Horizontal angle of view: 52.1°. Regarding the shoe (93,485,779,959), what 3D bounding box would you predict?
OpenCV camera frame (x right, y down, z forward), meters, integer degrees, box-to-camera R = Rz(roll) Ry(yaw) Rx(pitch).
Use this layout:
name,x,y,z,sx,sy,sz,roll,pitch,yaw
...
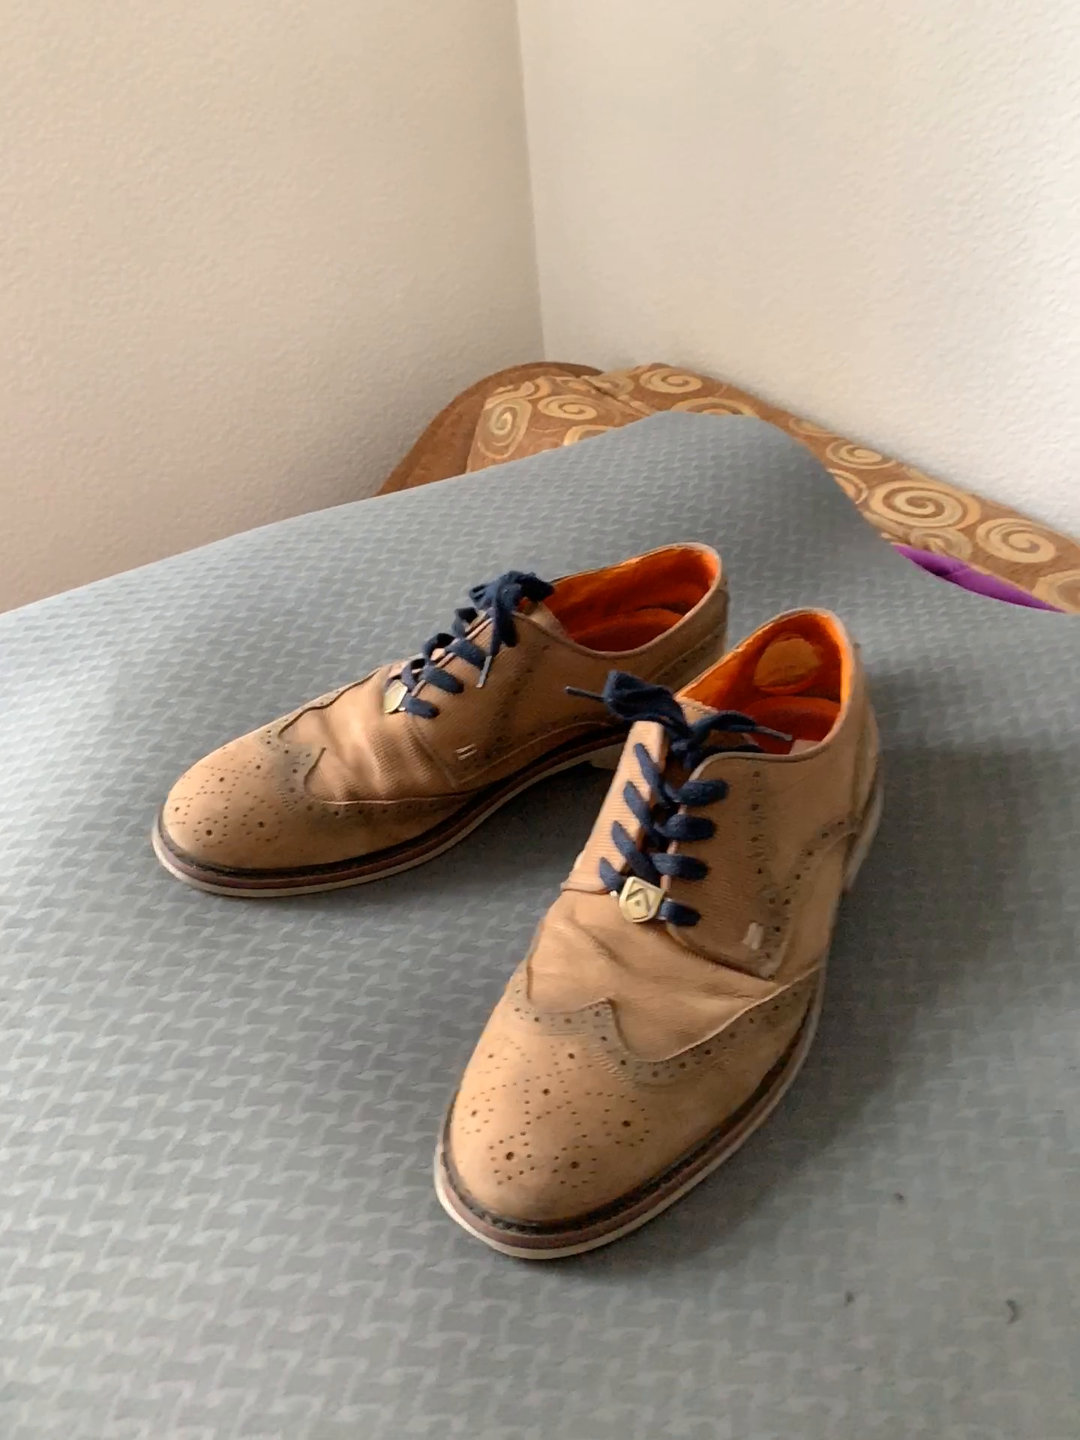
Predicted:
name,x,y,z,sx,sy,sz,roll,pitch,yaw
shoe,-0.043,-0.011,0.541,0.300,0.090,0.111,-21,42,-17

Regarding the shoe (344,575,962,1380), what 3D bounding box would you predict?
name,x,y,z,sx,sy,sz,roll,pitch,yaw
shoe,0.064,0.067,0.427,0.110,0.090,0.291,17,45,24
